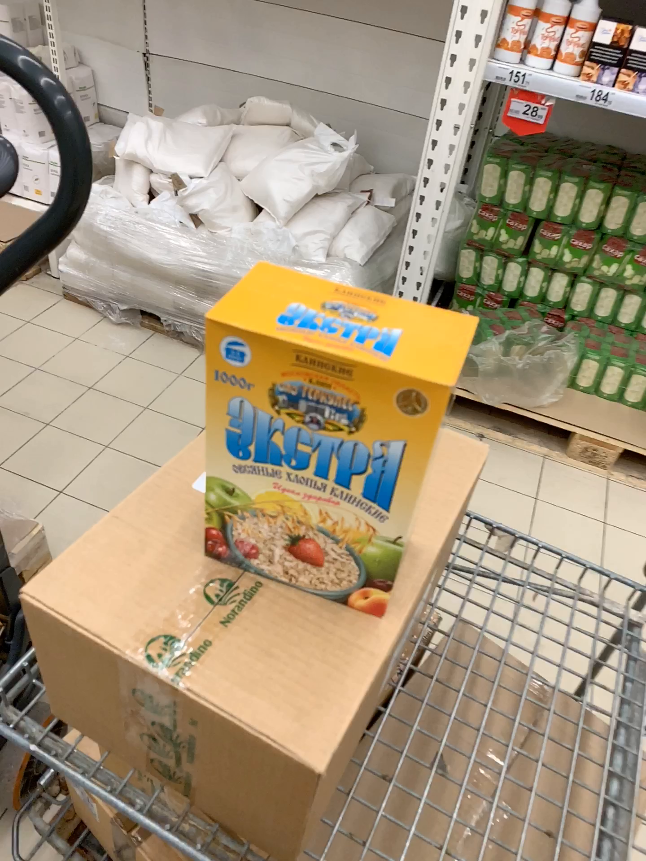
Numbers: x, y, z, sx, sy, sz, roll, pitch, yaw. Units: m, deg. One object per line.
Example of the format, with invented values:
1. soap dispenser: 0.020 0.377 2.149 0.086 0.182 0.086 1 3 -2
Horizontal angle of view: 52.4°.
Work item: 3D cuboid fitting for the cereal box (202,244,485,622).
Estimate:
1. cereal box: 0.004 0.010 0.495 0.160 0.239 0.101 17 41 9
